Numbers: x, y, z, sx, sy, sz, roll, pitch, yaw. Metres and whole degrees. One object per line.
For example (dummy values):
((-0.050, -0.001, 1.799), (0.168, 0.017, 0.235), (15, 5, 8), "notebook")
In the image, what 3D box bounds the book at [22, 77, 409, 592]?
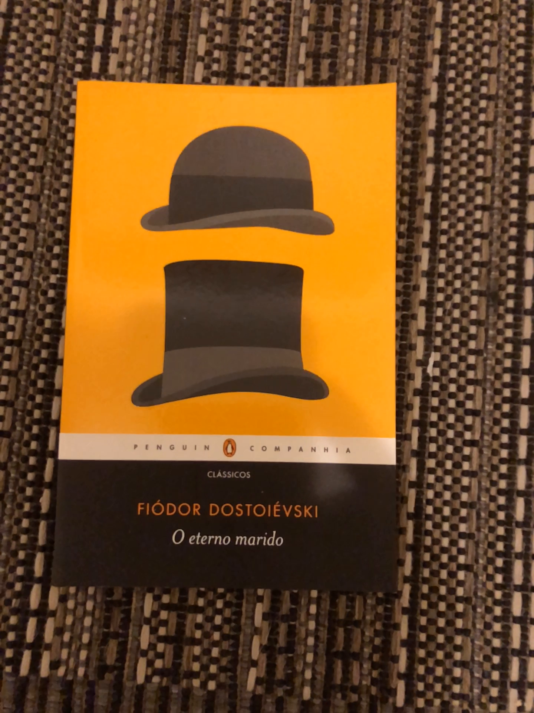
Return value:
((-0.016, -0.010, 0.220), (0.130, 0.020, 0.180), (1, 84, -1), "book")
